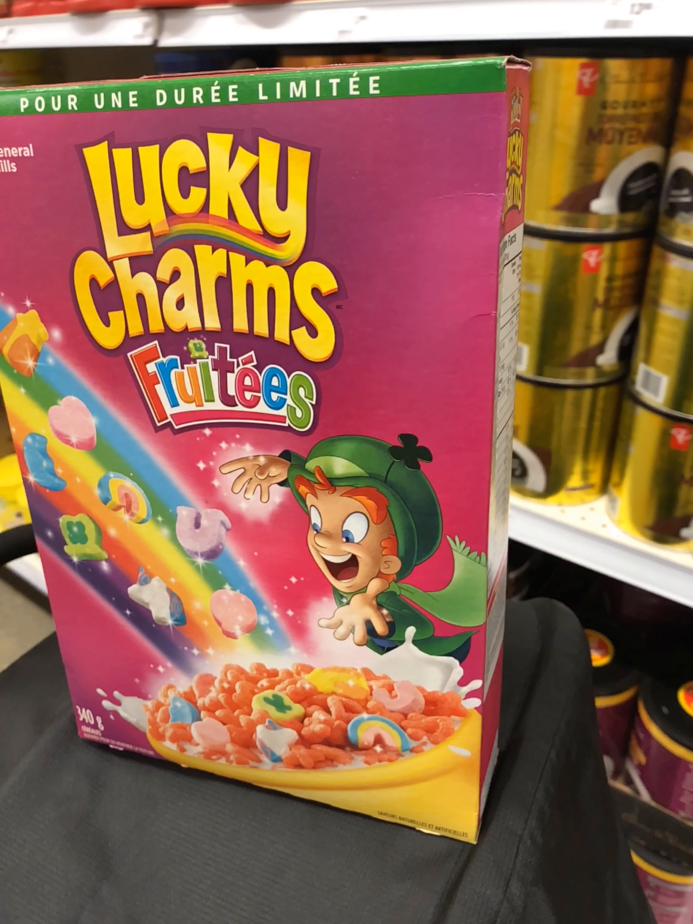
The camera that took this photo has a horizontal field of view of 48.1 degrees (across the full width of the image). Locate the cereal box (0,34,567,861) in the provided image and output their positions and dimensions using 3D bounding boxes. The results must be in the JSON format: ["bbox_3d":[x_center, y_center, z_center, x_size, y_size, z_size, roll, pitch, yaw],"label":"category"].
[{"bbox_3d":[-0.032,0.005,0.312,0.200,0.299,0.060,7,26,17],"label":"cereal box"}]
